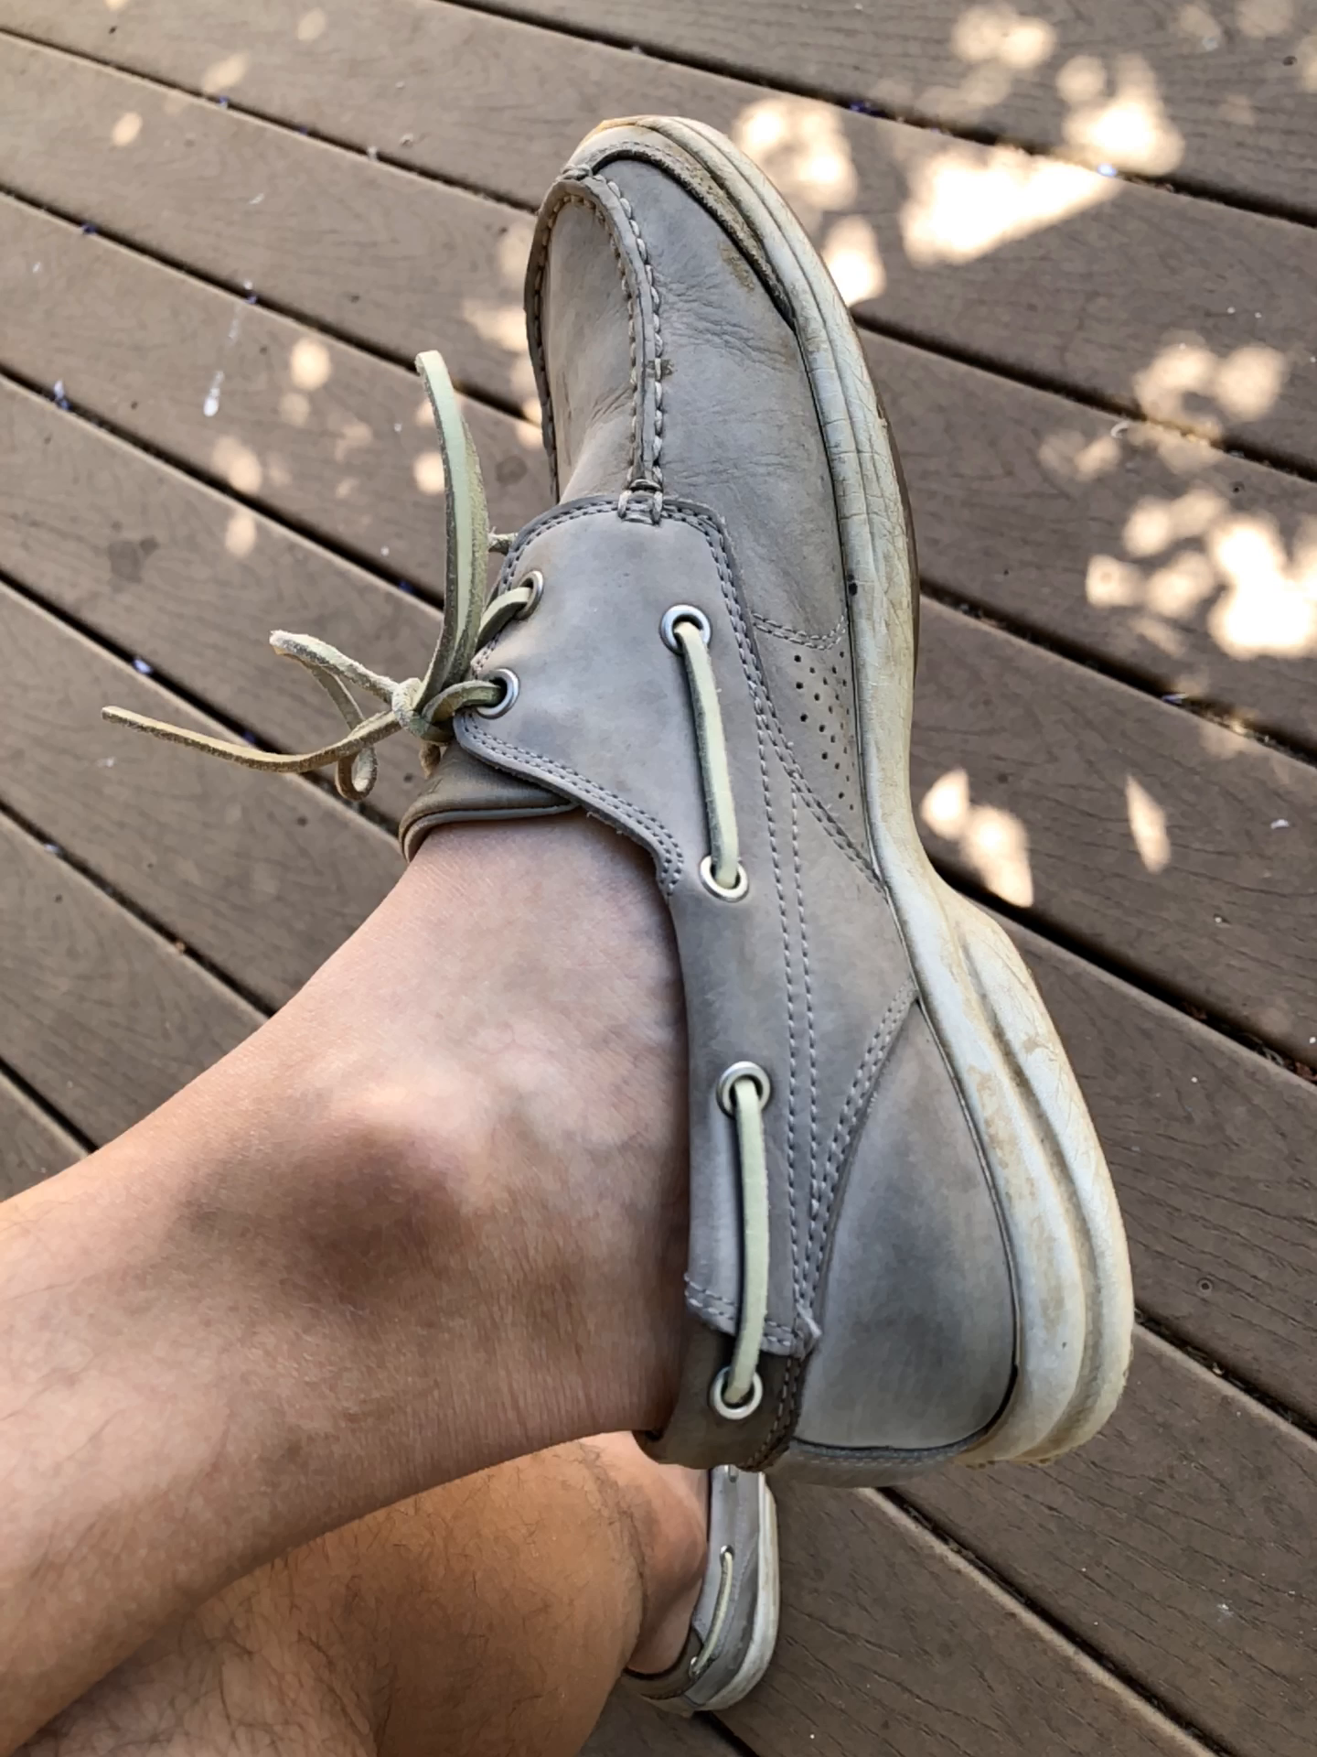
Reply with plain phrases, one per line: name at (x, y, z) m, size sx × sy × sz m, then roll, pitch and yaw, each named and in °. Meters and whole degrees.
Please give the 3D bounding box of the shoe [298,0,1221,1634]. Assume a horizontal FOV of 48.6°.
shoe at (-0.003, -0.030, 0.300) m, size 0.106 × 0.113 × 0.303 m, roll -1°, pitch 71°, yaw -22°
